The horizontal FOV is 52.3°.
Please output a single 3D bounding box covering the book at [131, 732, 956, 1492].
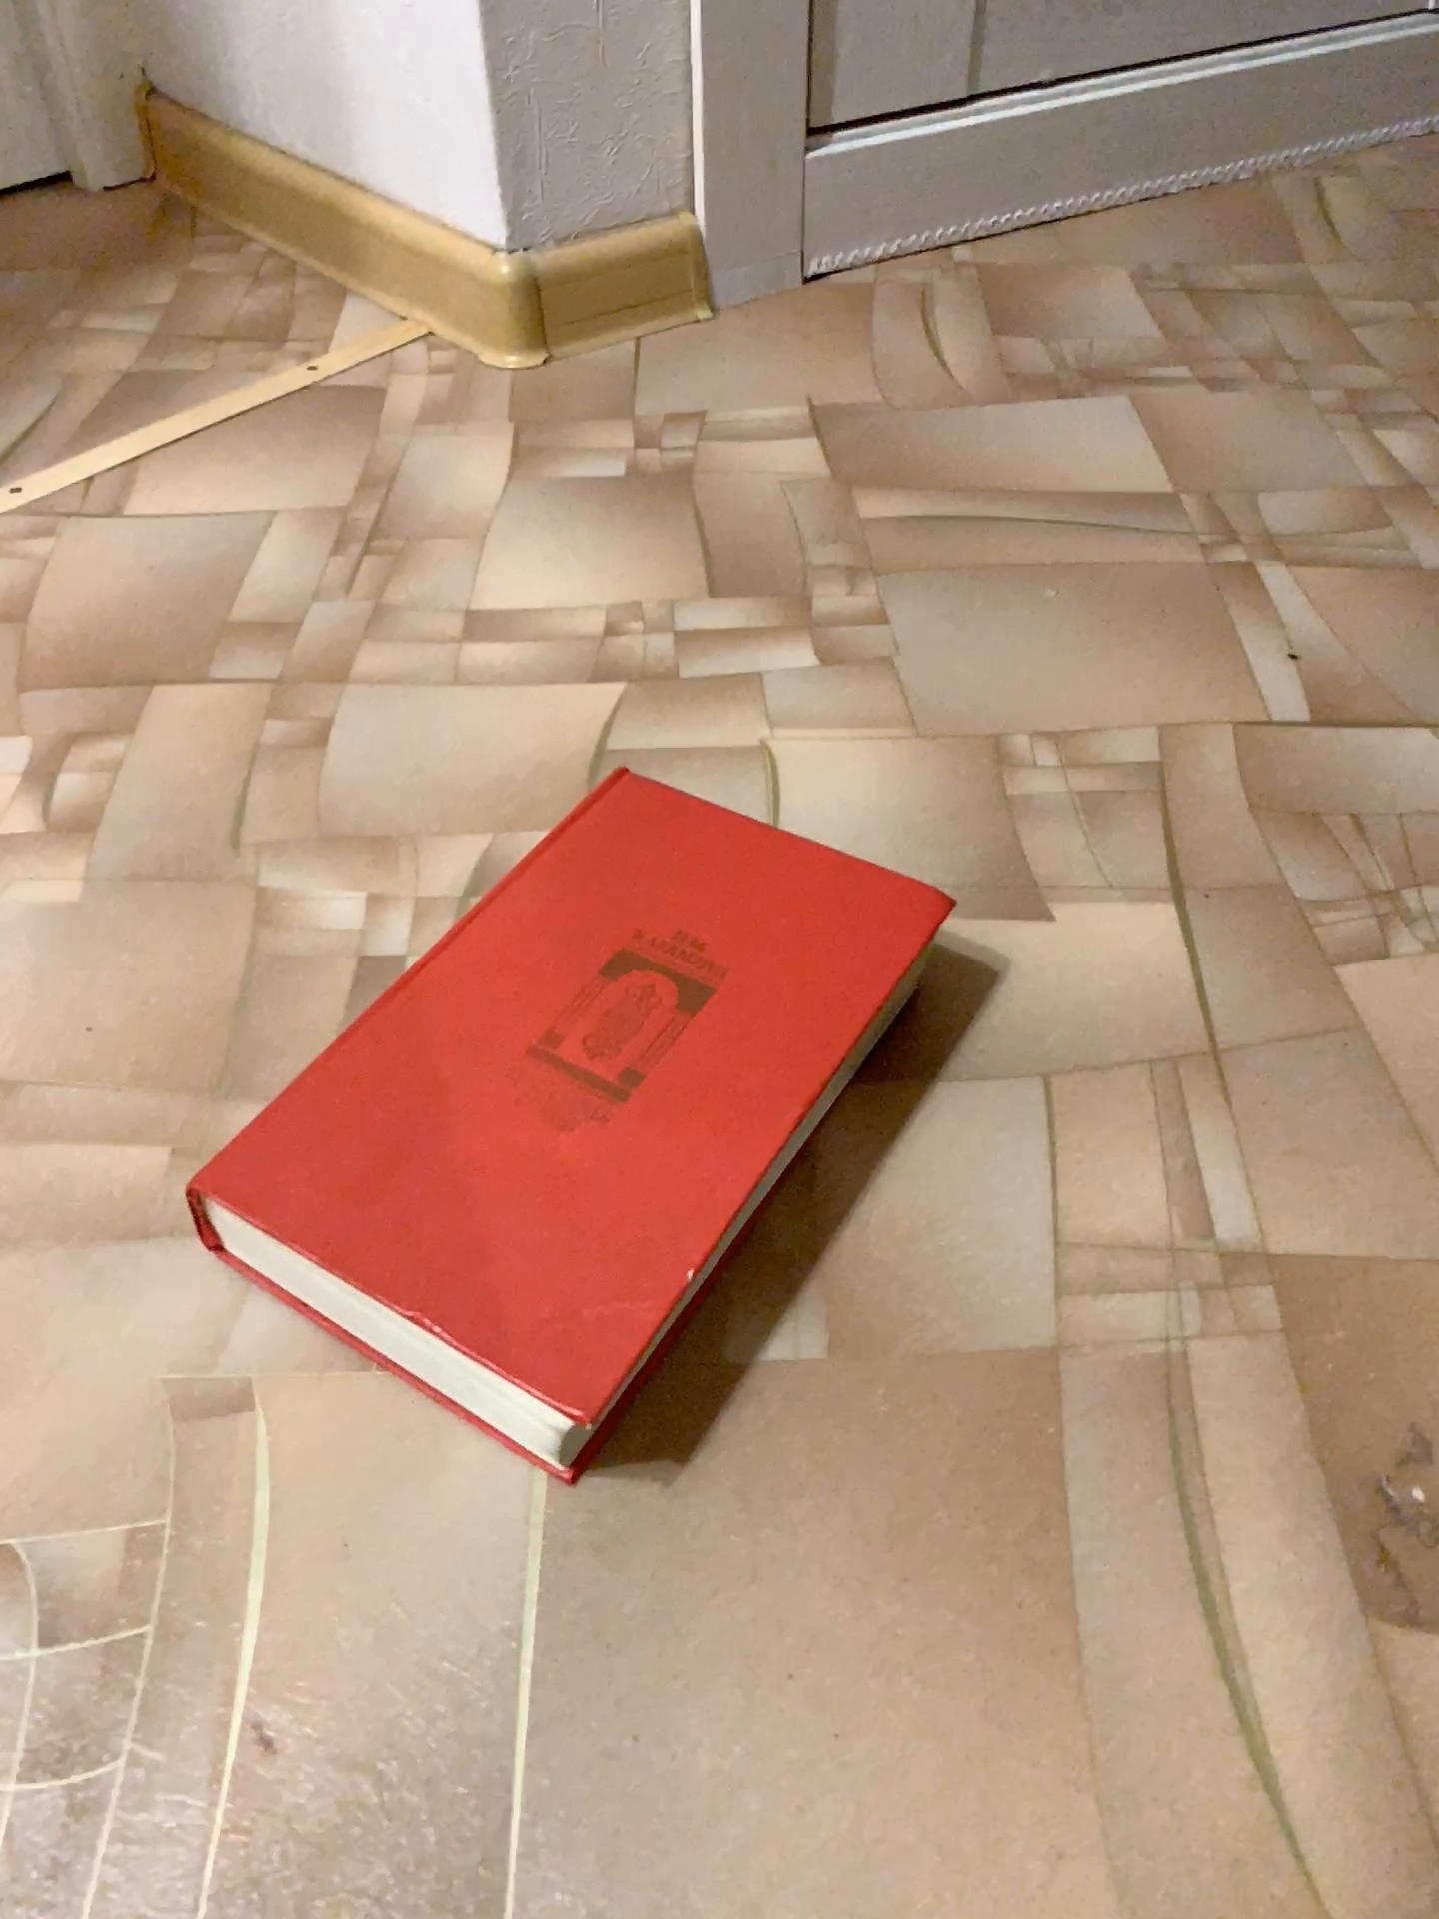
[{"bbox_3d":[-0.040,0.027,0.431,0.140,0.050,0.201,22,51,26],"label":"book"}]
